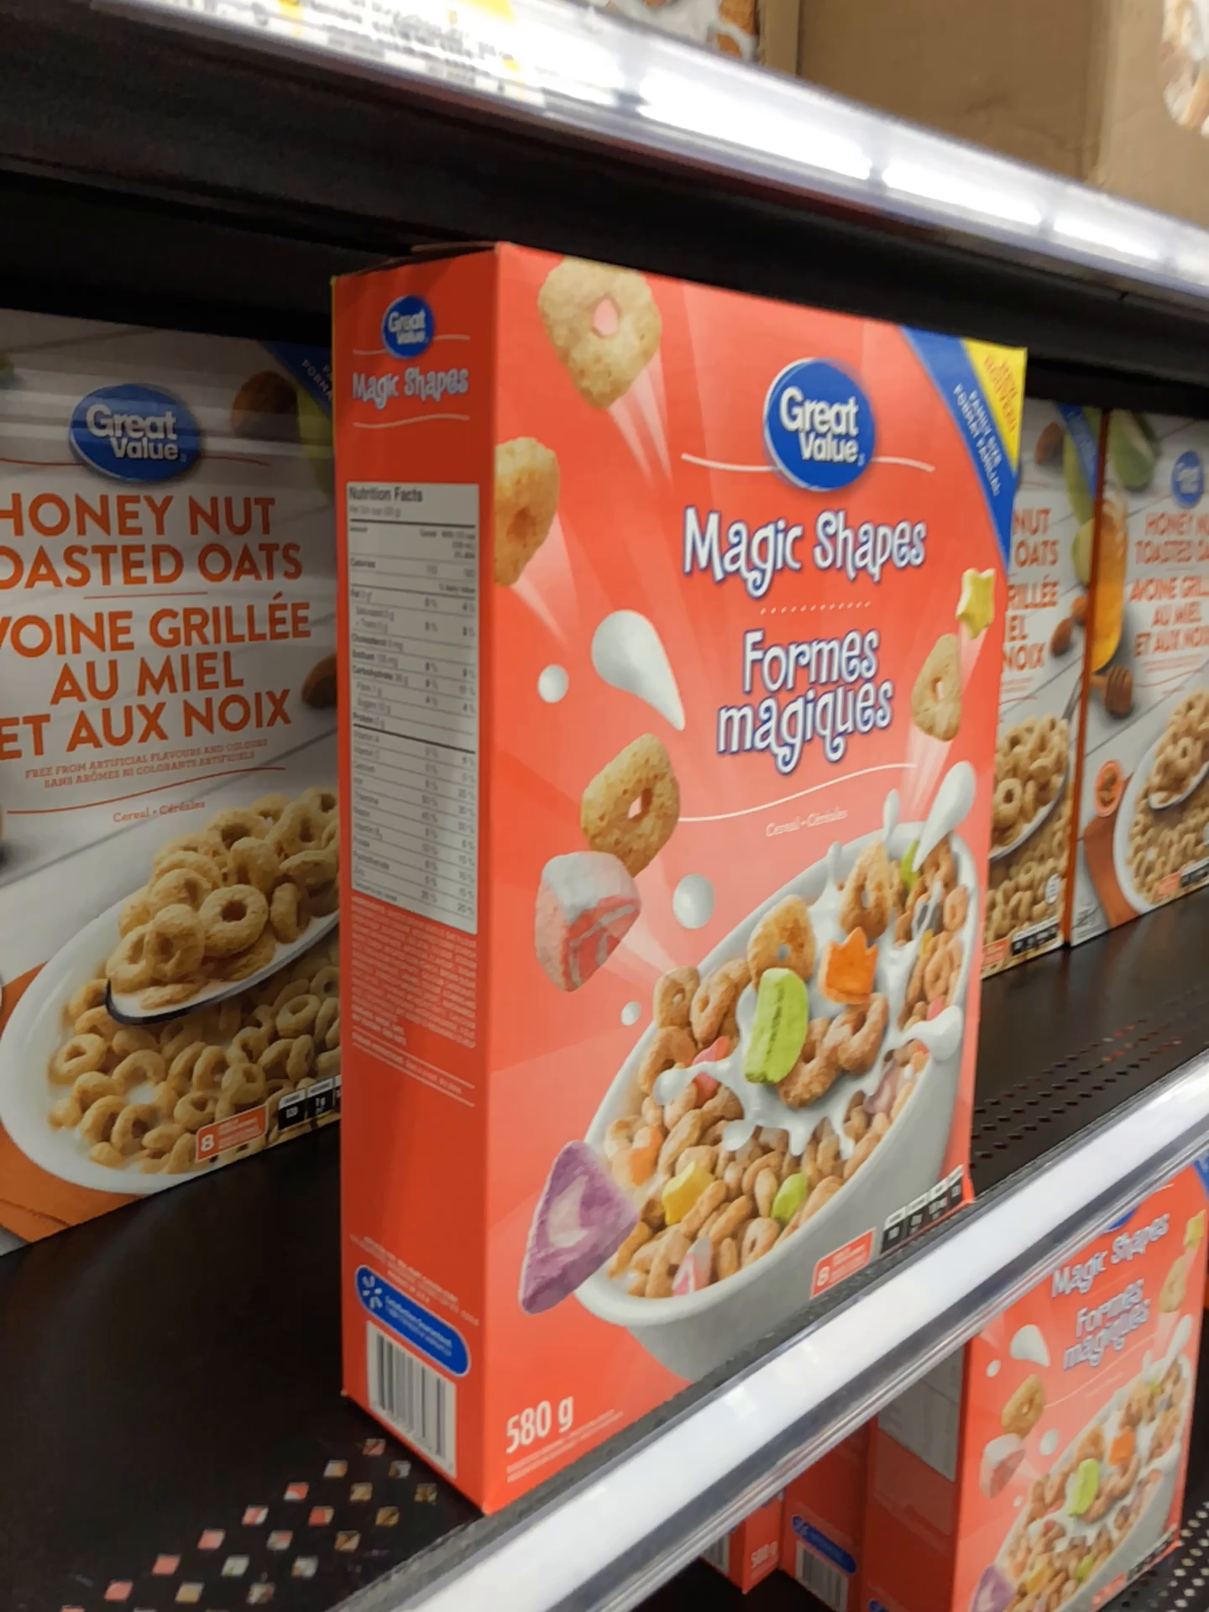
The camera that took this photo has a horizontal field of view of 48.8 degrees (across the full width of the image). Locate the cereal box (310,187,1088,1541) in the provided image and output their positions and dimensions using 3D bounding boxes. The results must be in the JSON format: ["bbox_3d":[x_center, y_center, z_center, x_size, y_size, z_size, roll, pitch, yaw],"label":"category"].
[{"bbox_3d":[0.041,0.005,0.418,0.070,0.319,0.261,14,18,43],"label":"cereal box"}]
